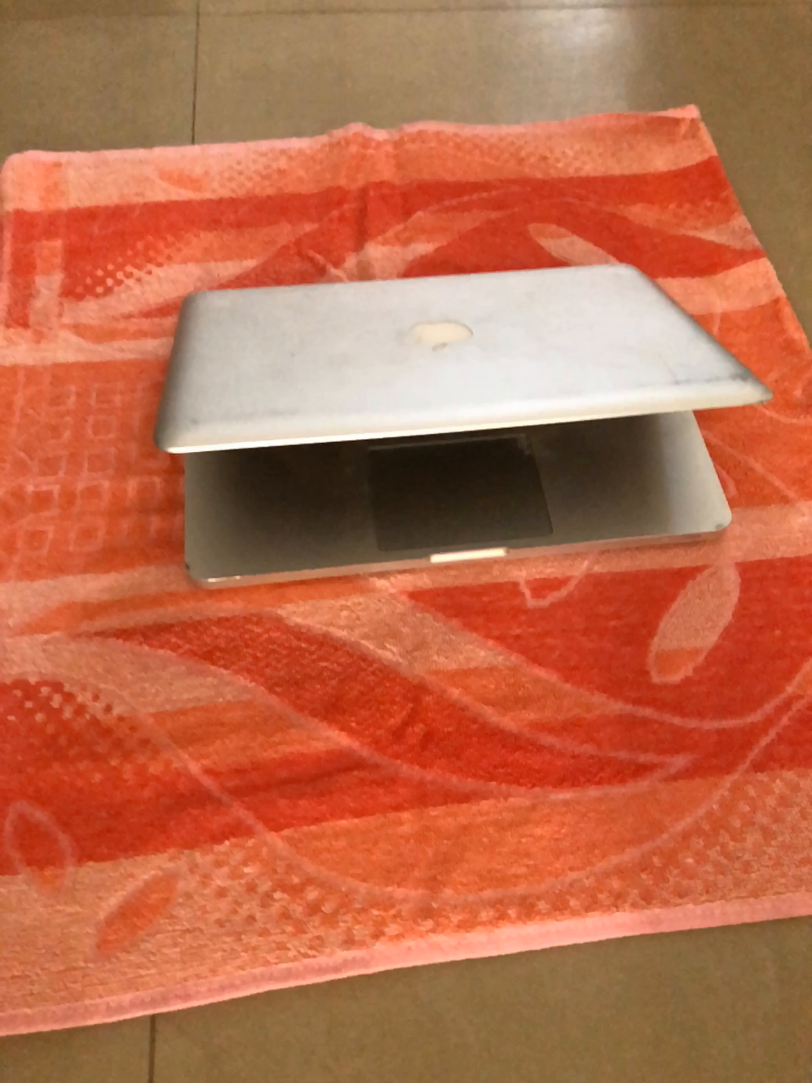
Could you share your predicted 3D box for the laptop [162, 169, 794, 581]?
[{"bbox_3d":[0.026,-0.108,0.528,0.310,0.086,0.224,-5,57,-6],"label":"laptop"}]
